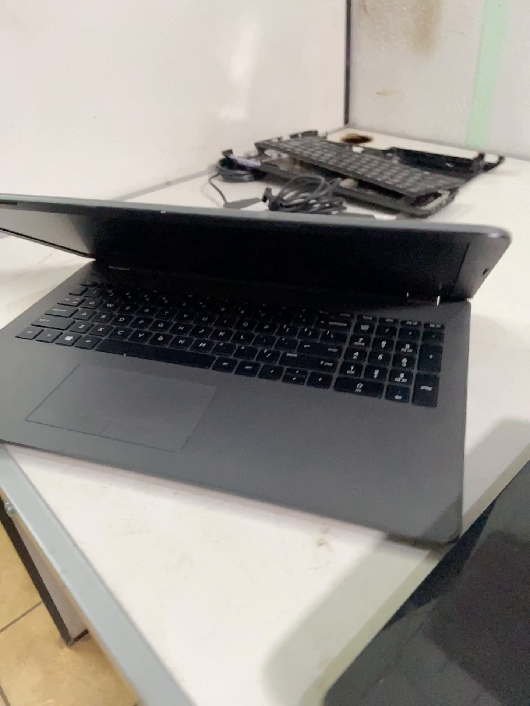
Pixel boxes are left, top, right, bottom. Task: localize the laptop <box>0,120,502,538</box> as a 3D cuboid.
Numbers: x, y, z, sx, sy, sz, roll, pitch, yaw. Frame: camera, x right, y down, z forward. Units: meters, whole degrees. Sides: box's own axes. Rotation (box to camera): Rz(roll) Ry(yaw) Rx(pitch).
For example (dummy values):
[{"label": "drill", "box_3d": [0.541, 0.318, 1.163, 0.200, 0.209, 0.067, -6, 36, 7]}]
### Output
[{"label": "laptop", "box_3d": [-0.049, -0.059, 0.391, 0.379, 0.141, 0.249, 8, 38, 17]}]
